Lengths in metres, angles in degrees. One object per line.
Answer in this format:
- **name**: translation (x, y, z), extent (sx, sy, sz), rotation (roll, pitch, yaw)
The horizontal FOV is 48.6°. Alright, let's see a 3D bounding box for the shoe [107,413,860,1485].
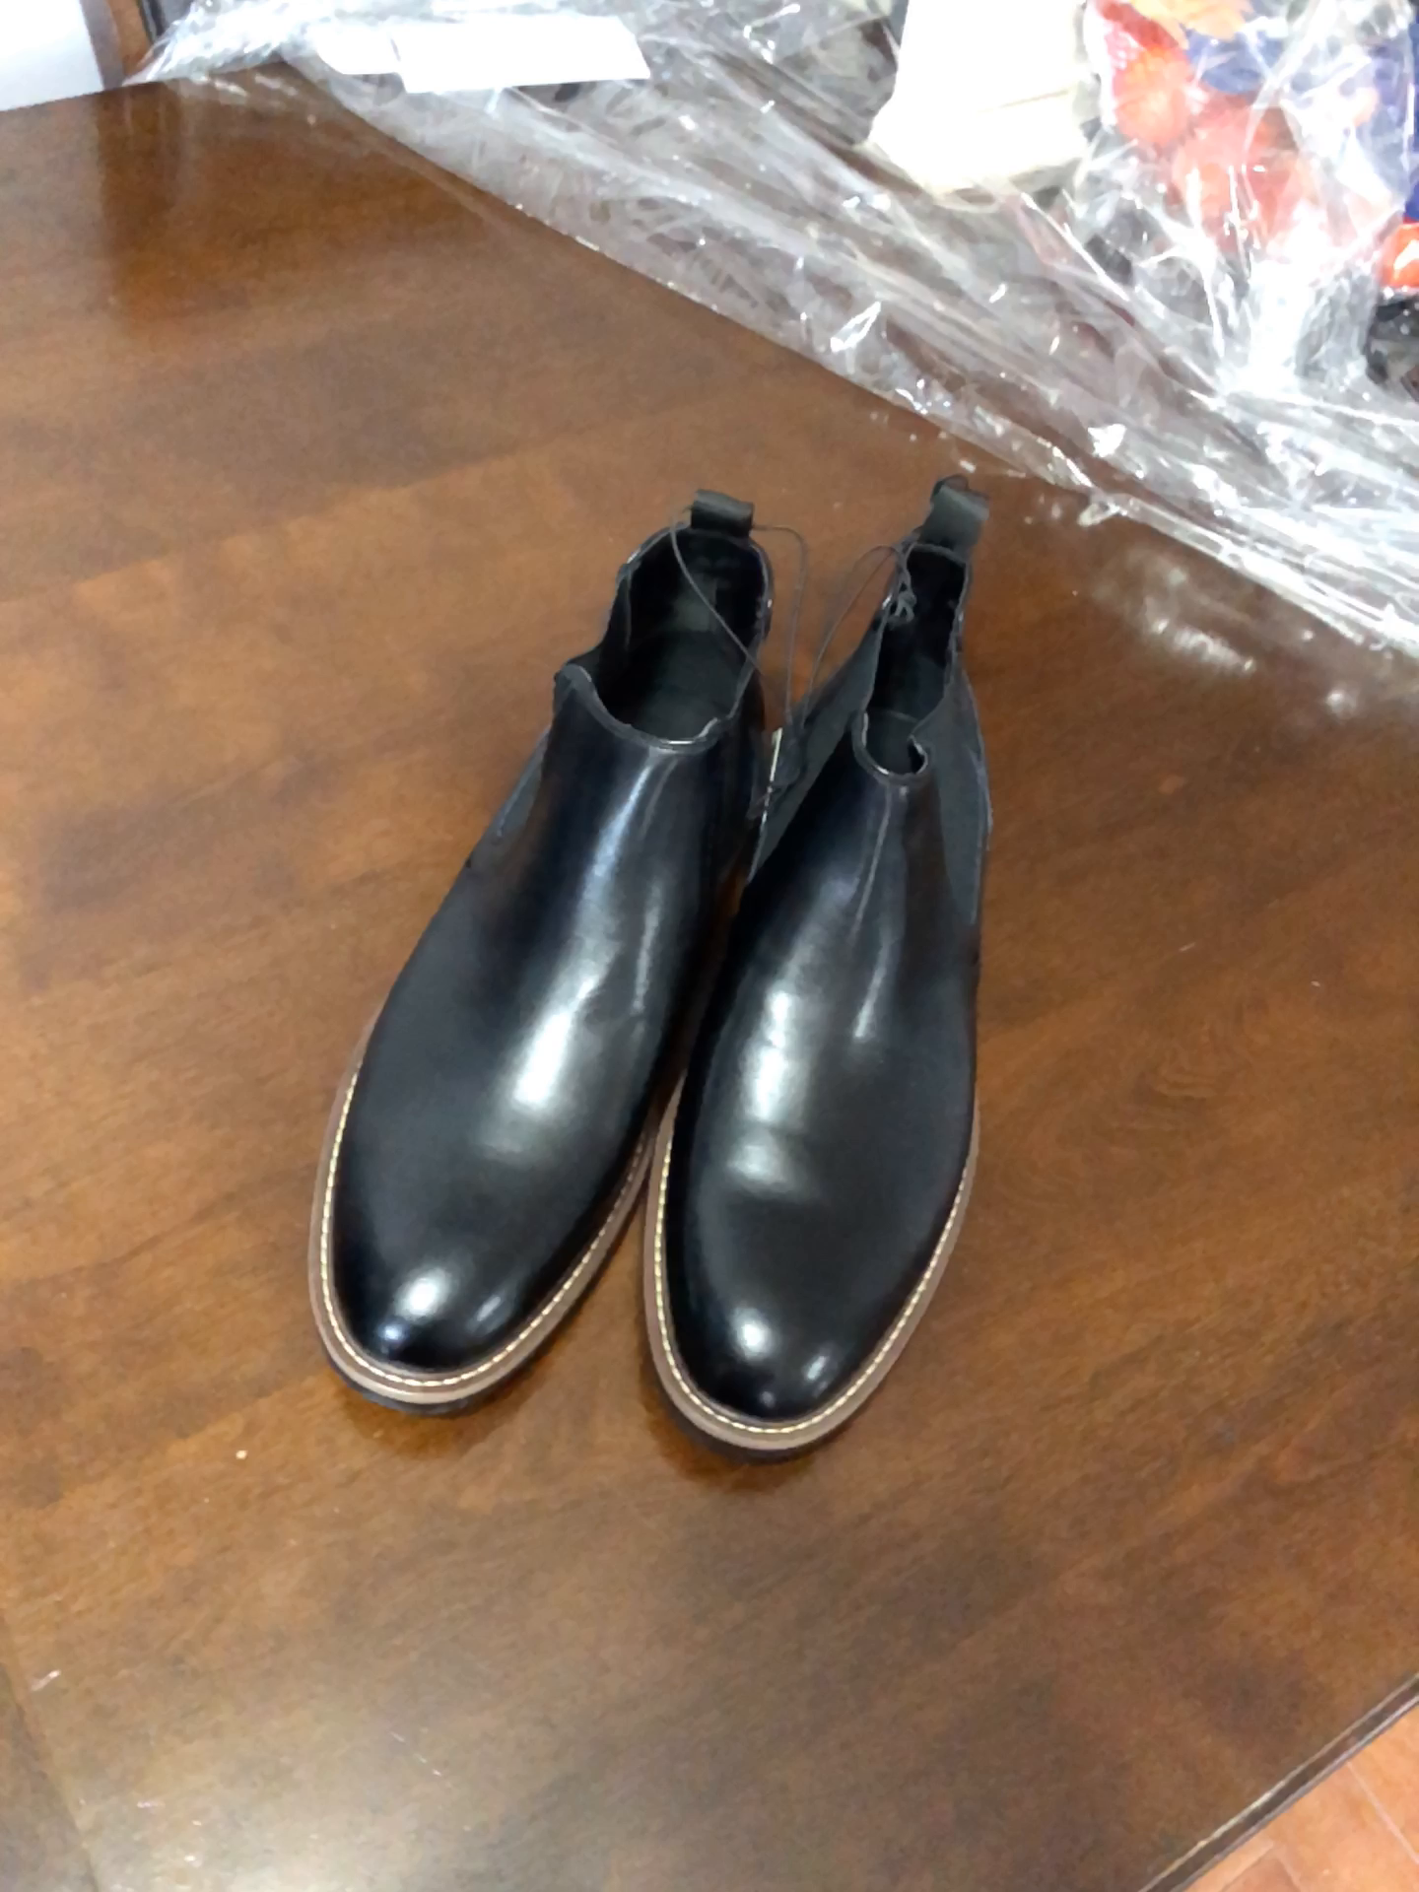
- **shoe**: translation (-0.057, -0.004, 0.534), extent (0.120, 0.170, 0.301), rotation (17, 57, 4)

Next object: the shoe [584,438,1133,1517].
- **shoe**: translation (0.052, 0.006, 0.527), extent (0.120, 0.170, 0.301), rotation (12, 56, 0)
